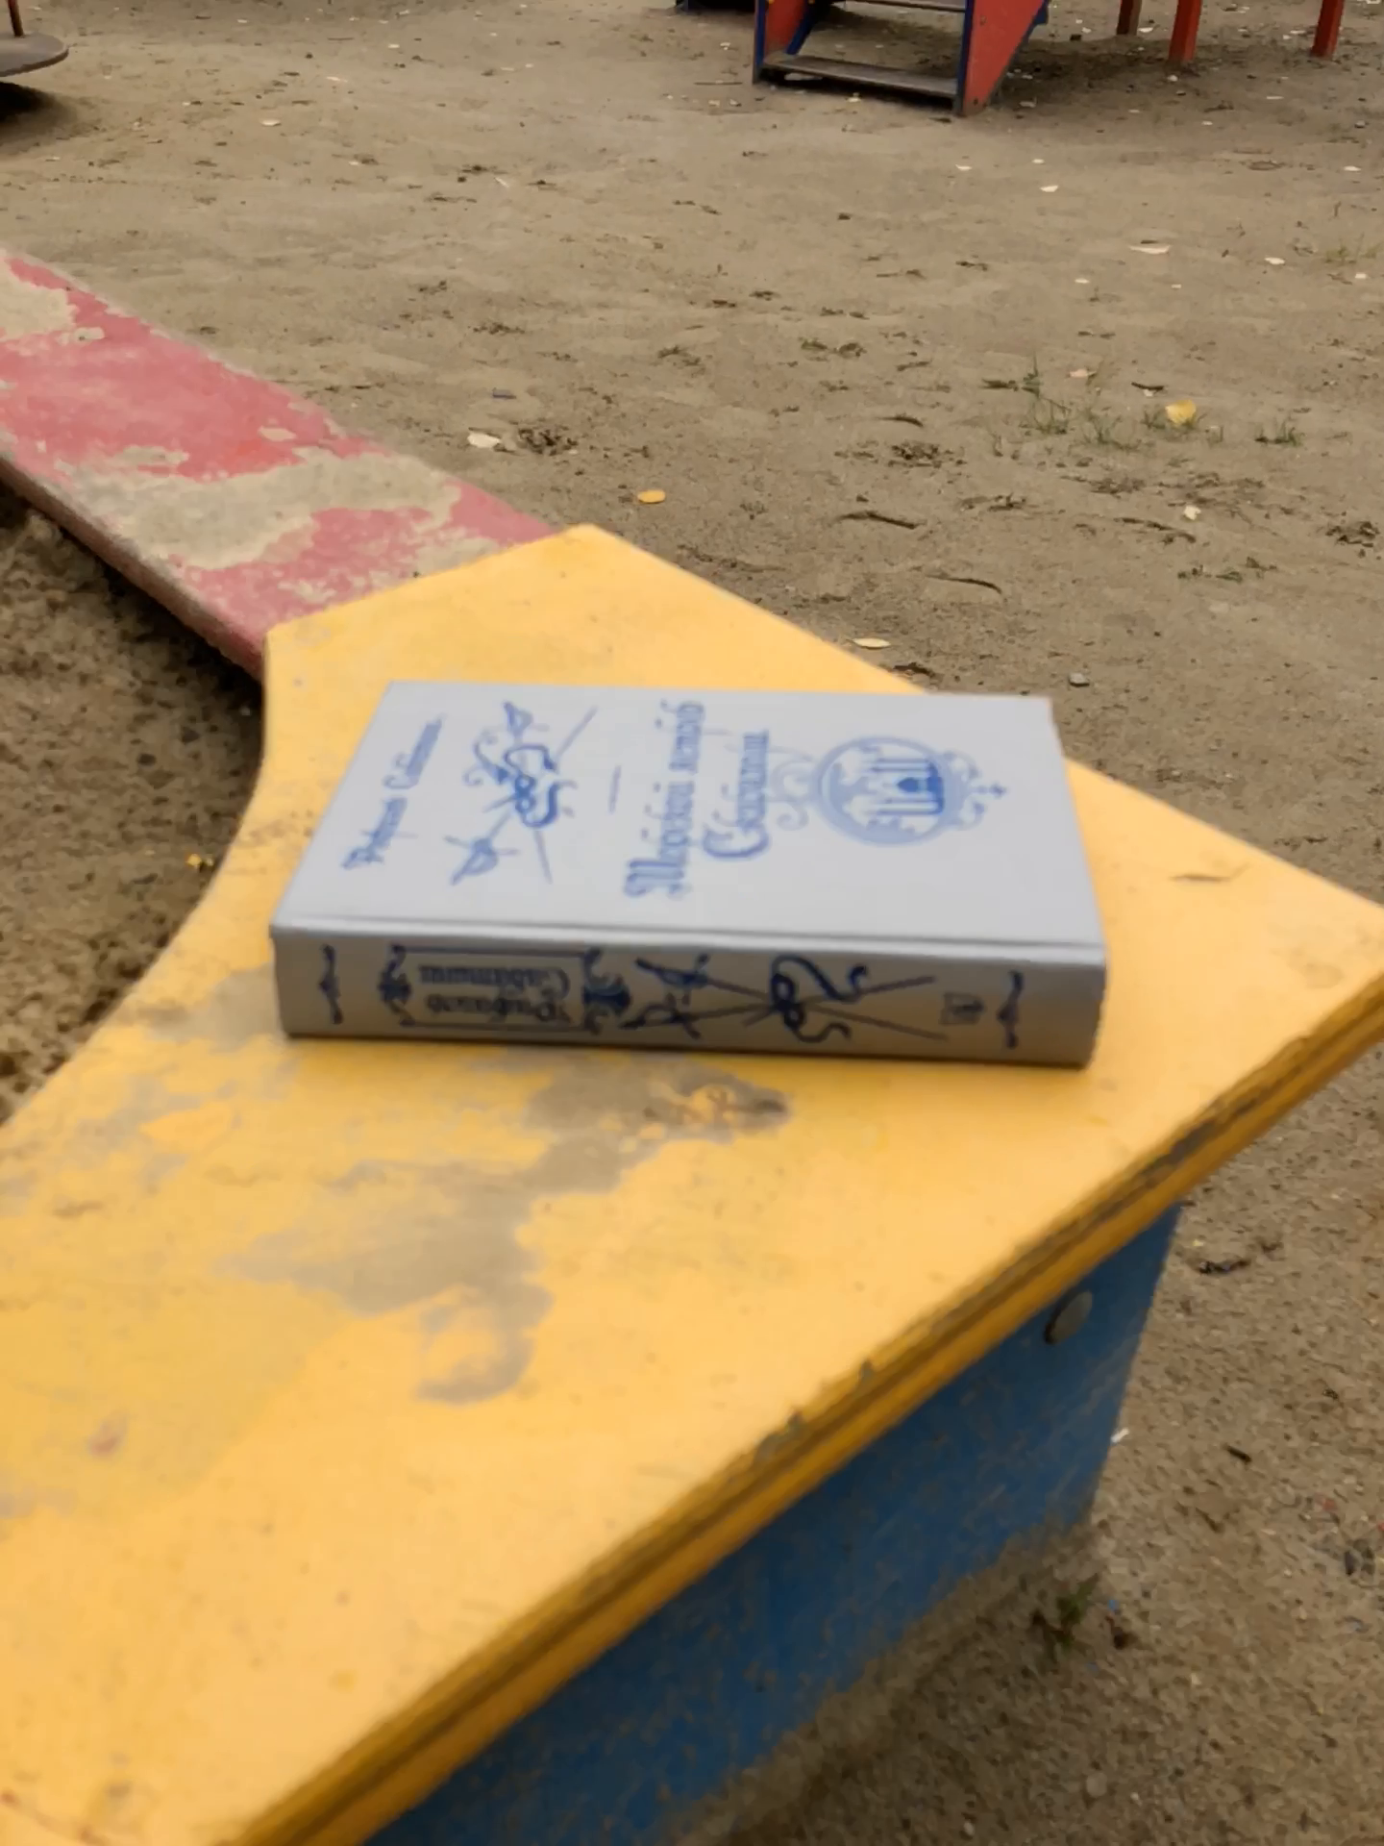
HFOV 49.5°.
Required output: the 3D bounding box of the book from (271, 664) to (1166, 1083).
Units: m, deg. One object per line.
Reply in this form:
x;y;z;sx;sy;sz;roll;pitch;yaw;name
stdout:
0.009;-0.020;0.418;0.210;0.037;0.136;3;36;2;book
